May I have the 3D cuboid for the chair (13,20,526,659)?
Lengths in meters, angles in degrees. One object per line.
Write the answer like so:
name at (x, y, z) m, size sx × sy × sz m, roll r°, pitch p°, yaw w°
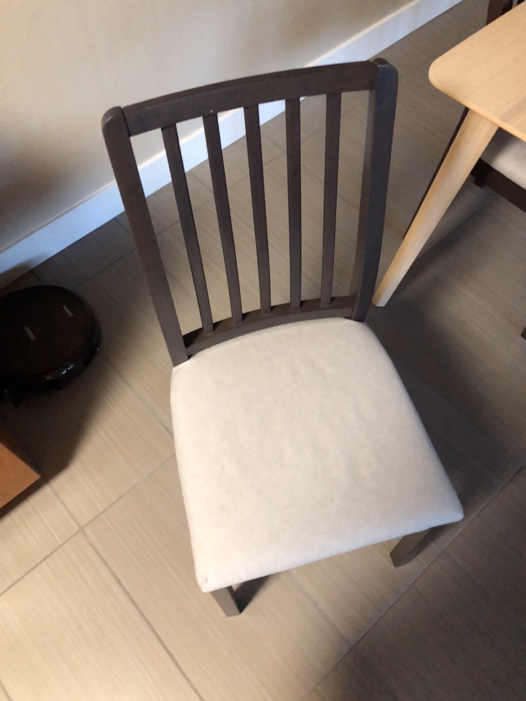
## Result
chair at (0.060, 0.085, 0.964) m, size 0.580 × 0.848 × 0.591 m, roll -14°, pitch 61°, yaw -7°
